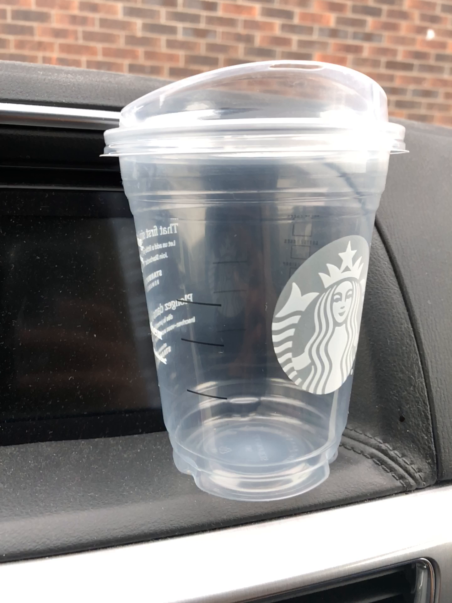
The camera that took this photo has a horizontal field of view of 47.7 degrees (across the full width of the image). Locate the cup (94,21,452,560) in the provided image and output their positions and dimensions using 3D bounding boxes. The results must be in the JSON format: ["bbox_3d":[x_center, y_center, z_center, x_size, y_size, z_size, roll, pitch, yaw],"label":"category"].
[{"bbox_3d":[0.016,-0.011,0.169,0.088,0.125,0.082,3,19,-1],"label":"cup"}]
